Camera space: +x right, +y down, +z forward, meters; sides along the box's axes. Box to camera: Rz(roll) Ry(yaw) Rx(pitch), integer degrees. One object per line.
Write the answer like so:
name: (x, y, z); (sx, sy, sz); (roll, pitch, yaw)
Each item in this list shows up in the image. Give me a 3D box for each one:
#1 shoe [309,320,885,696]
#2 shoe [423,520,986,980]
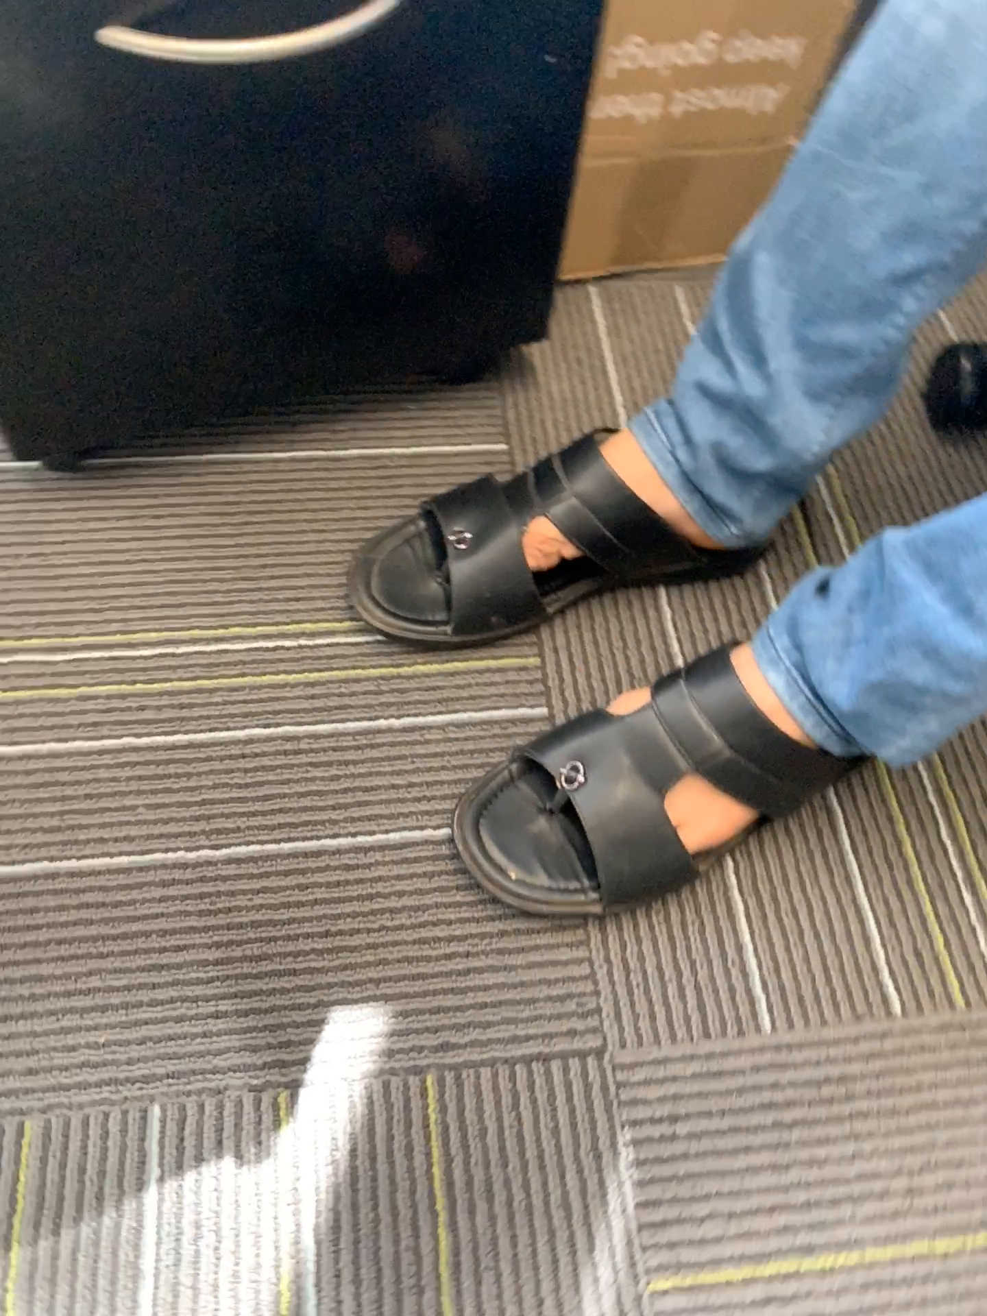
shoe: (0.059, -0.097, 0.642); (0.316, 0.116, 0.118); (-16, 62, -13)
shoe: (0.130, 0.047, 0.565); (0.316, 0.116, 0.118); (-19, 62, -14)
